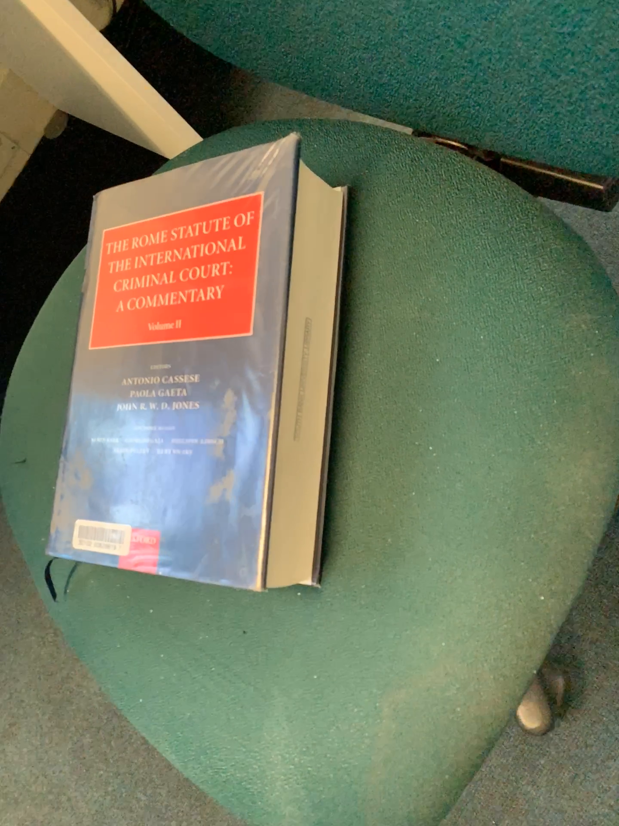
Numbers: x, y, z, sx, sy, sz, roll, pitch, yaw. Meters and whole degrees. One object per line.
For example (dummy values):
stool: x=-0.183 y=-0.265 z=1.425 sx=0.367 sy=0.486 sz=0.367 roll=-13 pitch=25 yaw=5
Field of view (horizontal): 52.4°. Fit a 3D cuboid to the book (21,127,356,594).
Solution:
book: x=-0.079 y=-0.028 z=0.412 sx=0.189 sy=0.070 sz=0.256 roll=-1 pitch=78 yaw=31
